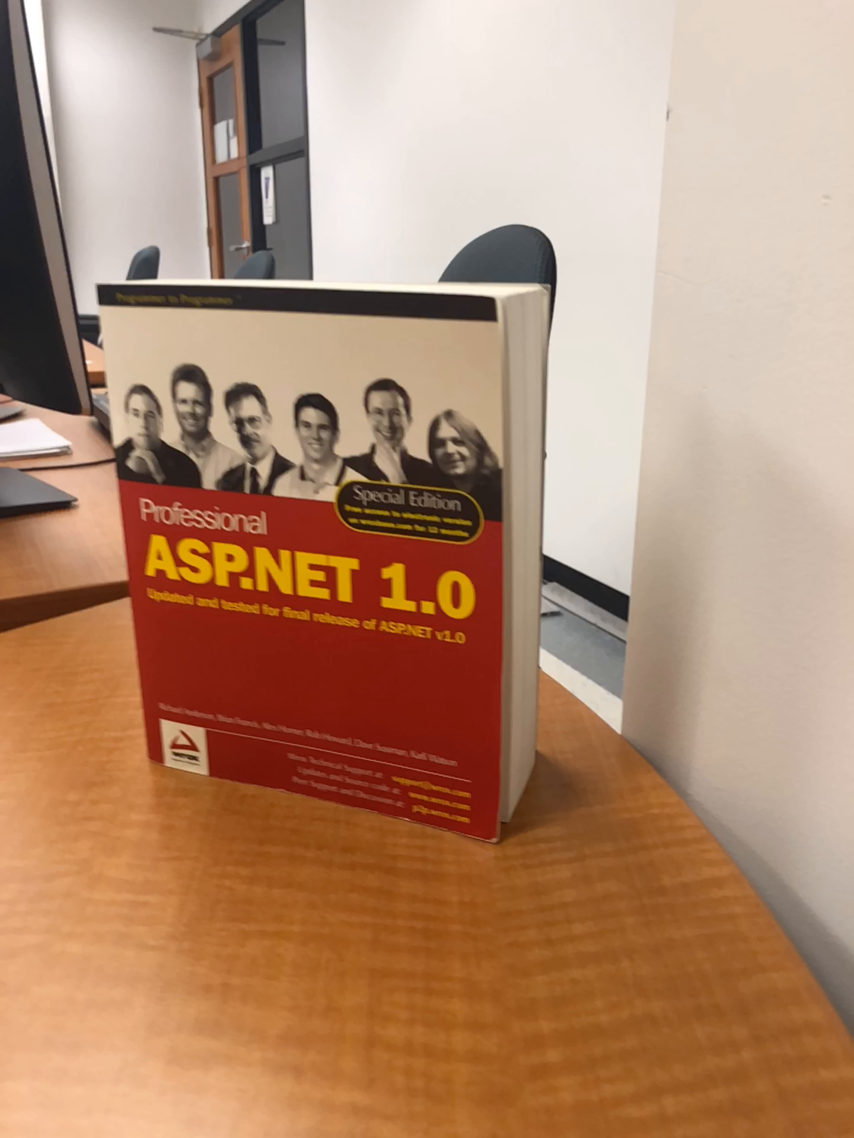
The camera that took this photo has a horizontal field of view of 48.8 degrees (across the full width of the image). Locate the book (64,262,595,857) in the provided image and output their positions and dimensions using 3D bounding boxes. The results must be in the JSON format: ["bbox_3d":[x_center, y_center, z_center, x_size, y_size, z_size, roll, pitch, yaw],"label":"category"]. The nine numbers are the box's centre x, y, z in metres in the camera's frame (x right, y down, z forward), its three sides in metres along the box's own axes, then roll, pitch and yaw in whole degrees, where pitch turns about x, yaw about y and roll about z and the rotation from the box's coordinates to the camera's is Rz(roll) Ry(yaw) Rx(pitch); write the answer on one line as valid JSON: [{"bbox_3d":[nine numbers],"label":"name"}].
[{"bbox_3d":[-0.043,-0.011,0.408,0.210,0.229,0.050,7,19,21],"label":"book"}]
